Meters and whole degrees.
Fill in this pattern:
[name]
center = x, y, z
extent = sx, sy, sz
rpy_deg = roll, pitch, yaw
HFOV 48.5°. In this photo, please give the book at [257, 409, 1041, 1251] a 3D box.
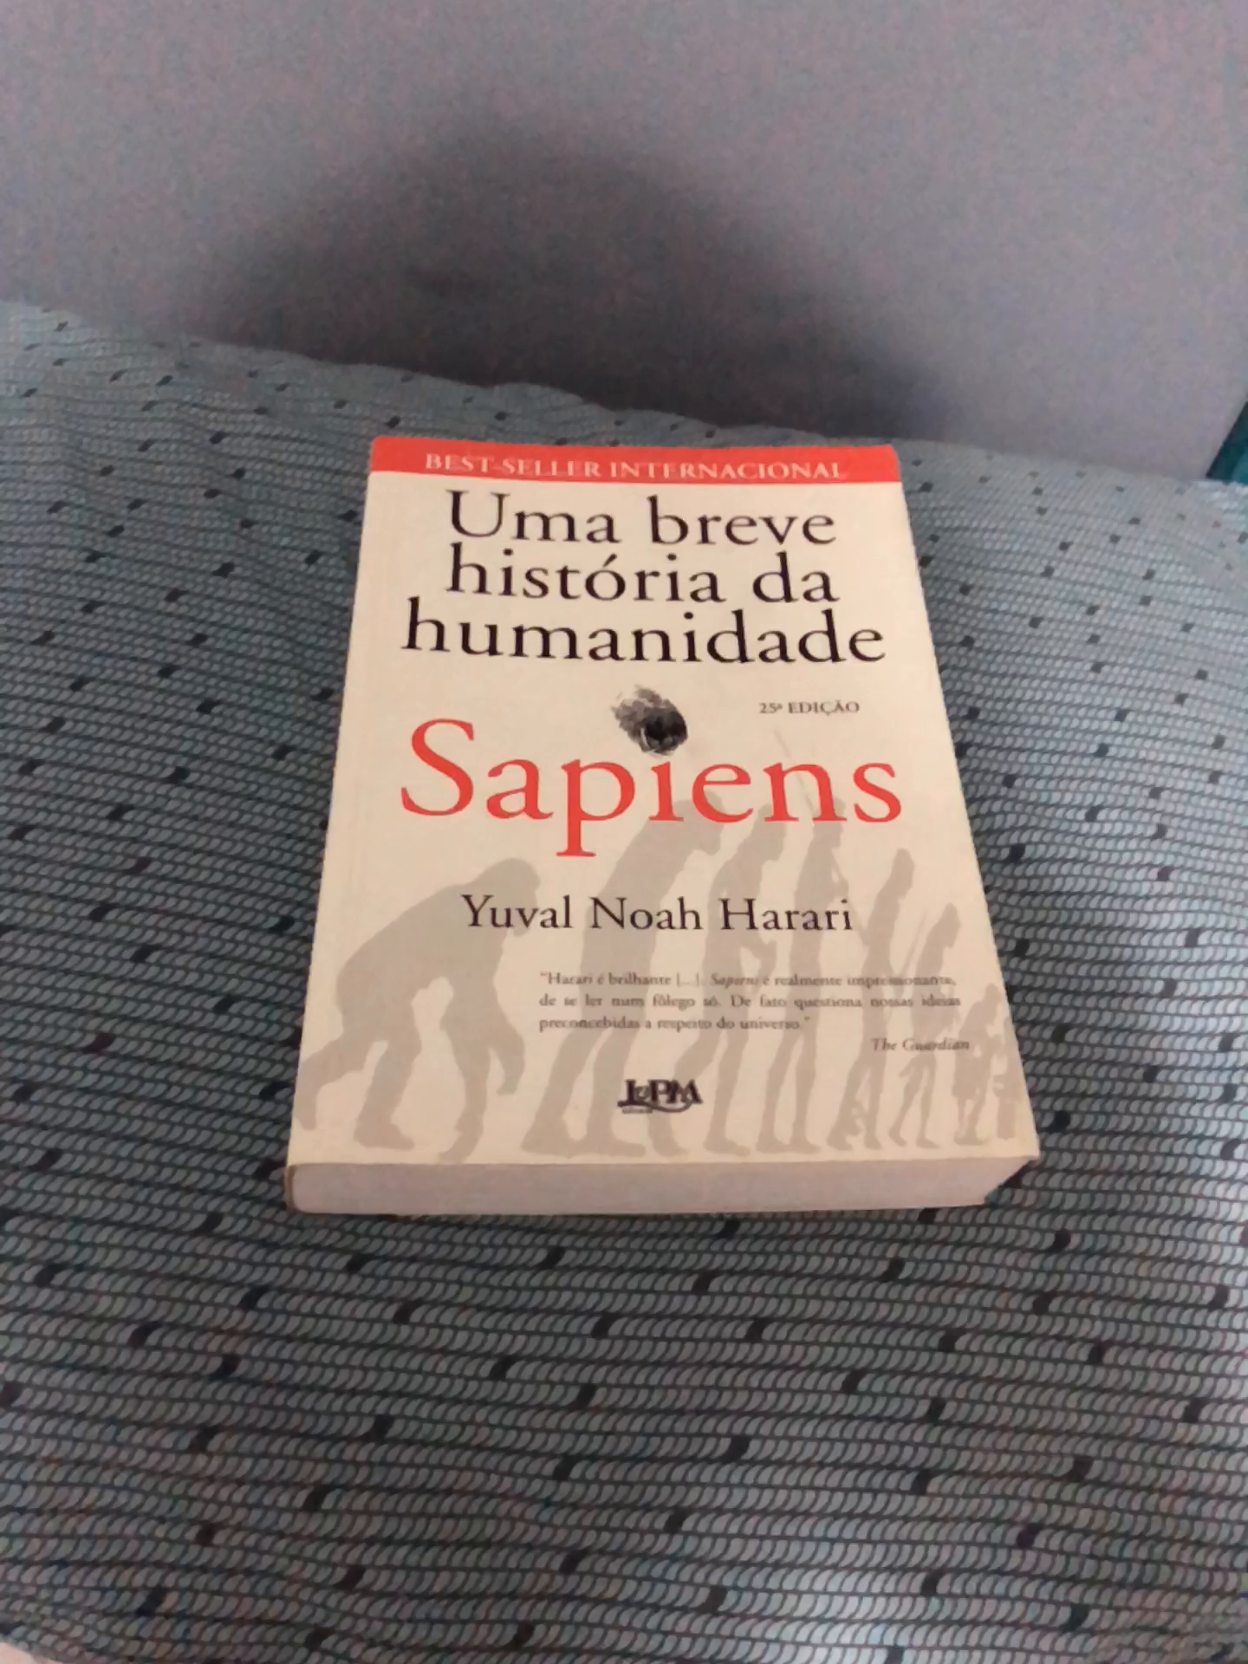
[book]
center = 0.002, -0.015, 0.367
extent = 0.160, 0.040, 0.241
rpy_deg = 1, 54, -5
